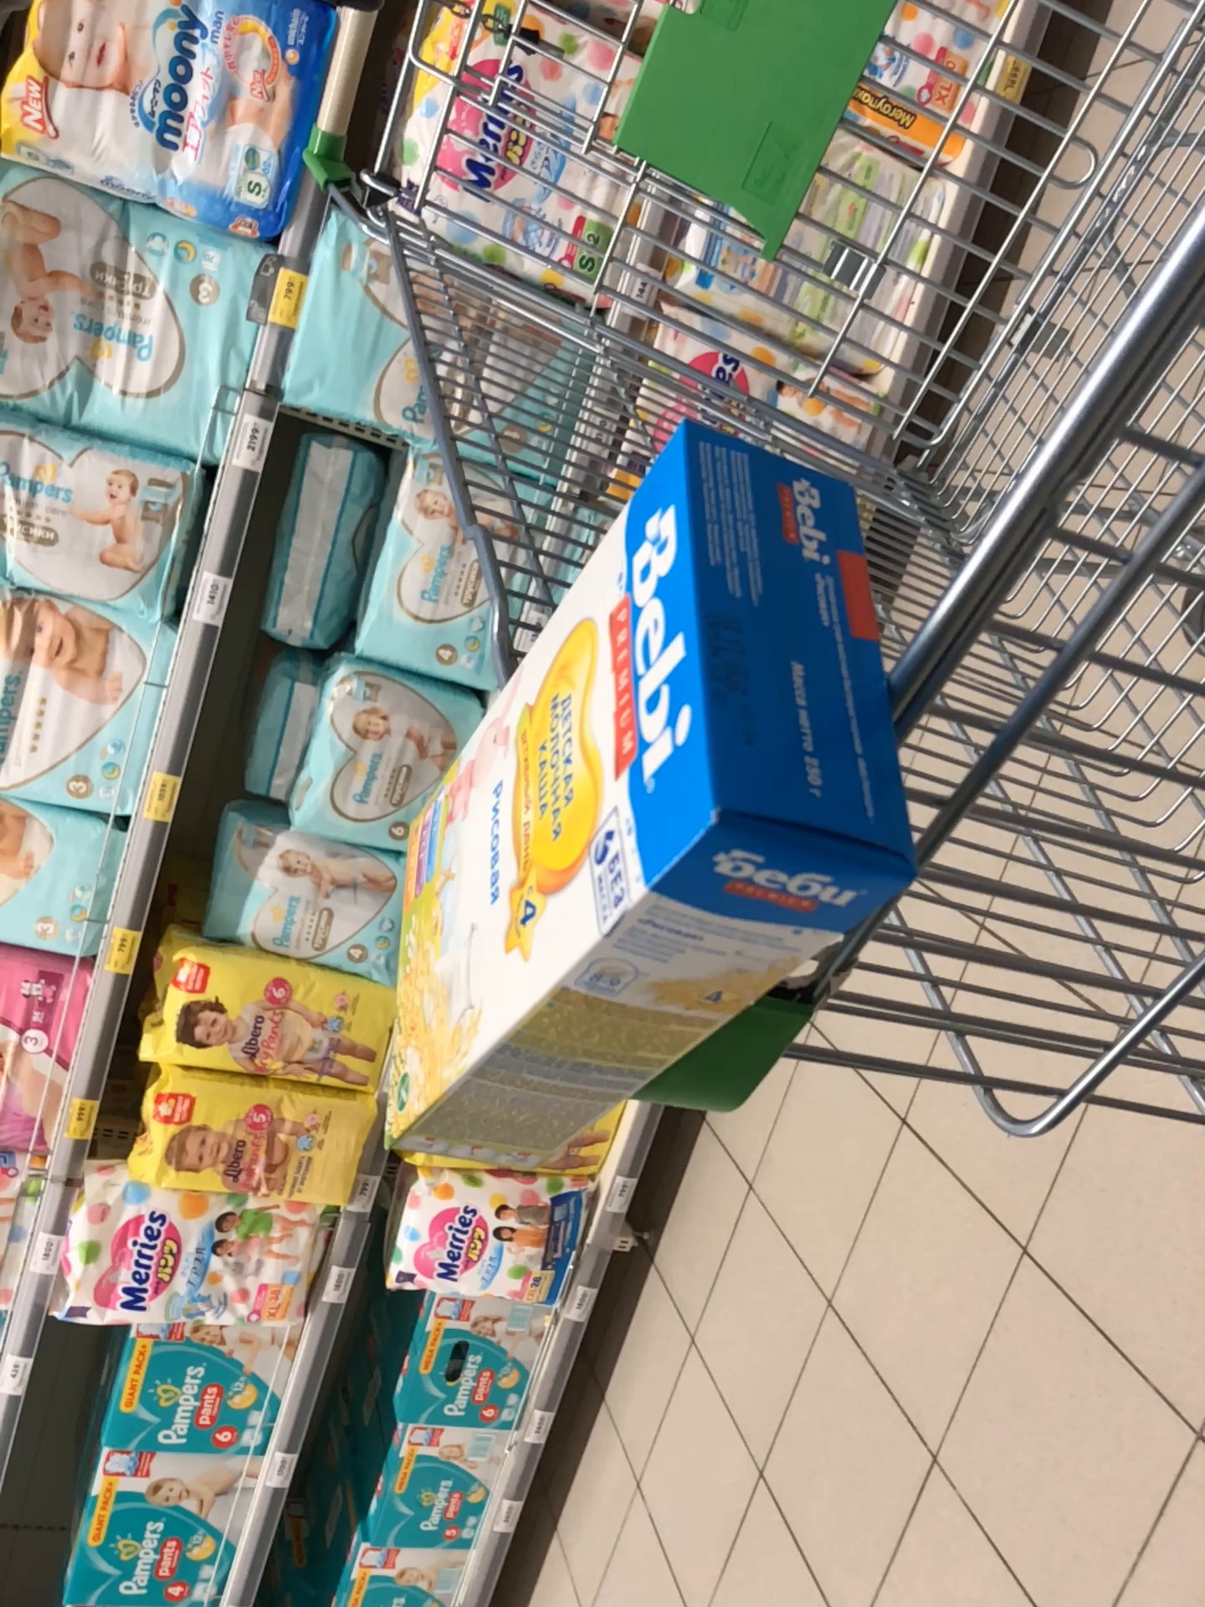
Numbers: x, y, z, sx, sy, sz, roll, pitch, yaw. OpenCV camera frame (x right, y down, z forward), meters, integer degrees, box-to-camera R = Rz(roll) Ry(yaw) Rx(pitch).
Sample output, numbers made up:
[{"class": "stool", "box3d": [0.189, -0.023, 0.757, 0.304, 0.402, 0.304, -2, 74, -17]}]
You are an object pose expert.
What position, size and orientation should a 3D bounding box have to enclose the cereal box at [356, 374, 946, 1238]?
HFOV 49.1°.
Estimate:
[{"class": "cereal box", "box3d": [-0.001, 0.015, 0.367, 0.211, 0.050, 0.150, -47, 32, 48]}]
